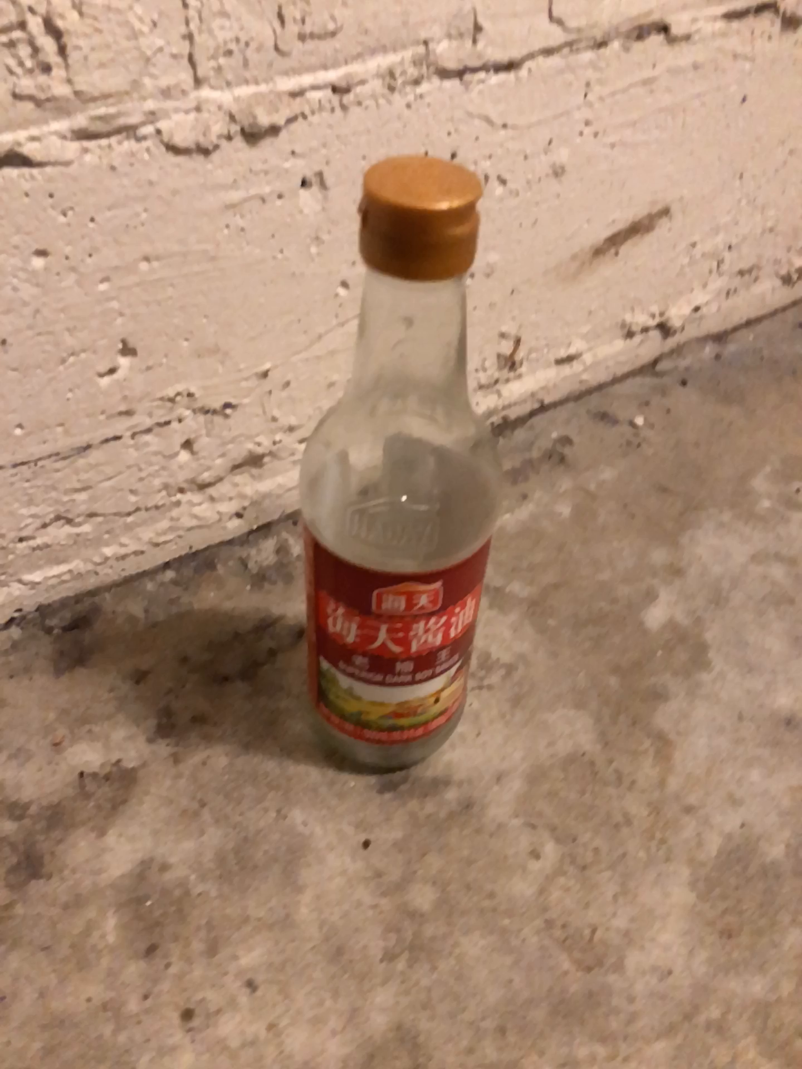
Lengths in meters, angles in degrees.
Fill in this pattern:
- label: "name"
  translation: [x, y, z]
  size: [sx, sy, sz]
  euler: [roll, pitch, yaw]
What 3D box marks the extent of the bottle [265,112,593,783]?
- label: "bottle"
  translation: [0.000, -0.008, 0.294]
  size: [0.070, 0.228, 0.070]
  euler: [1, 46, -1]
